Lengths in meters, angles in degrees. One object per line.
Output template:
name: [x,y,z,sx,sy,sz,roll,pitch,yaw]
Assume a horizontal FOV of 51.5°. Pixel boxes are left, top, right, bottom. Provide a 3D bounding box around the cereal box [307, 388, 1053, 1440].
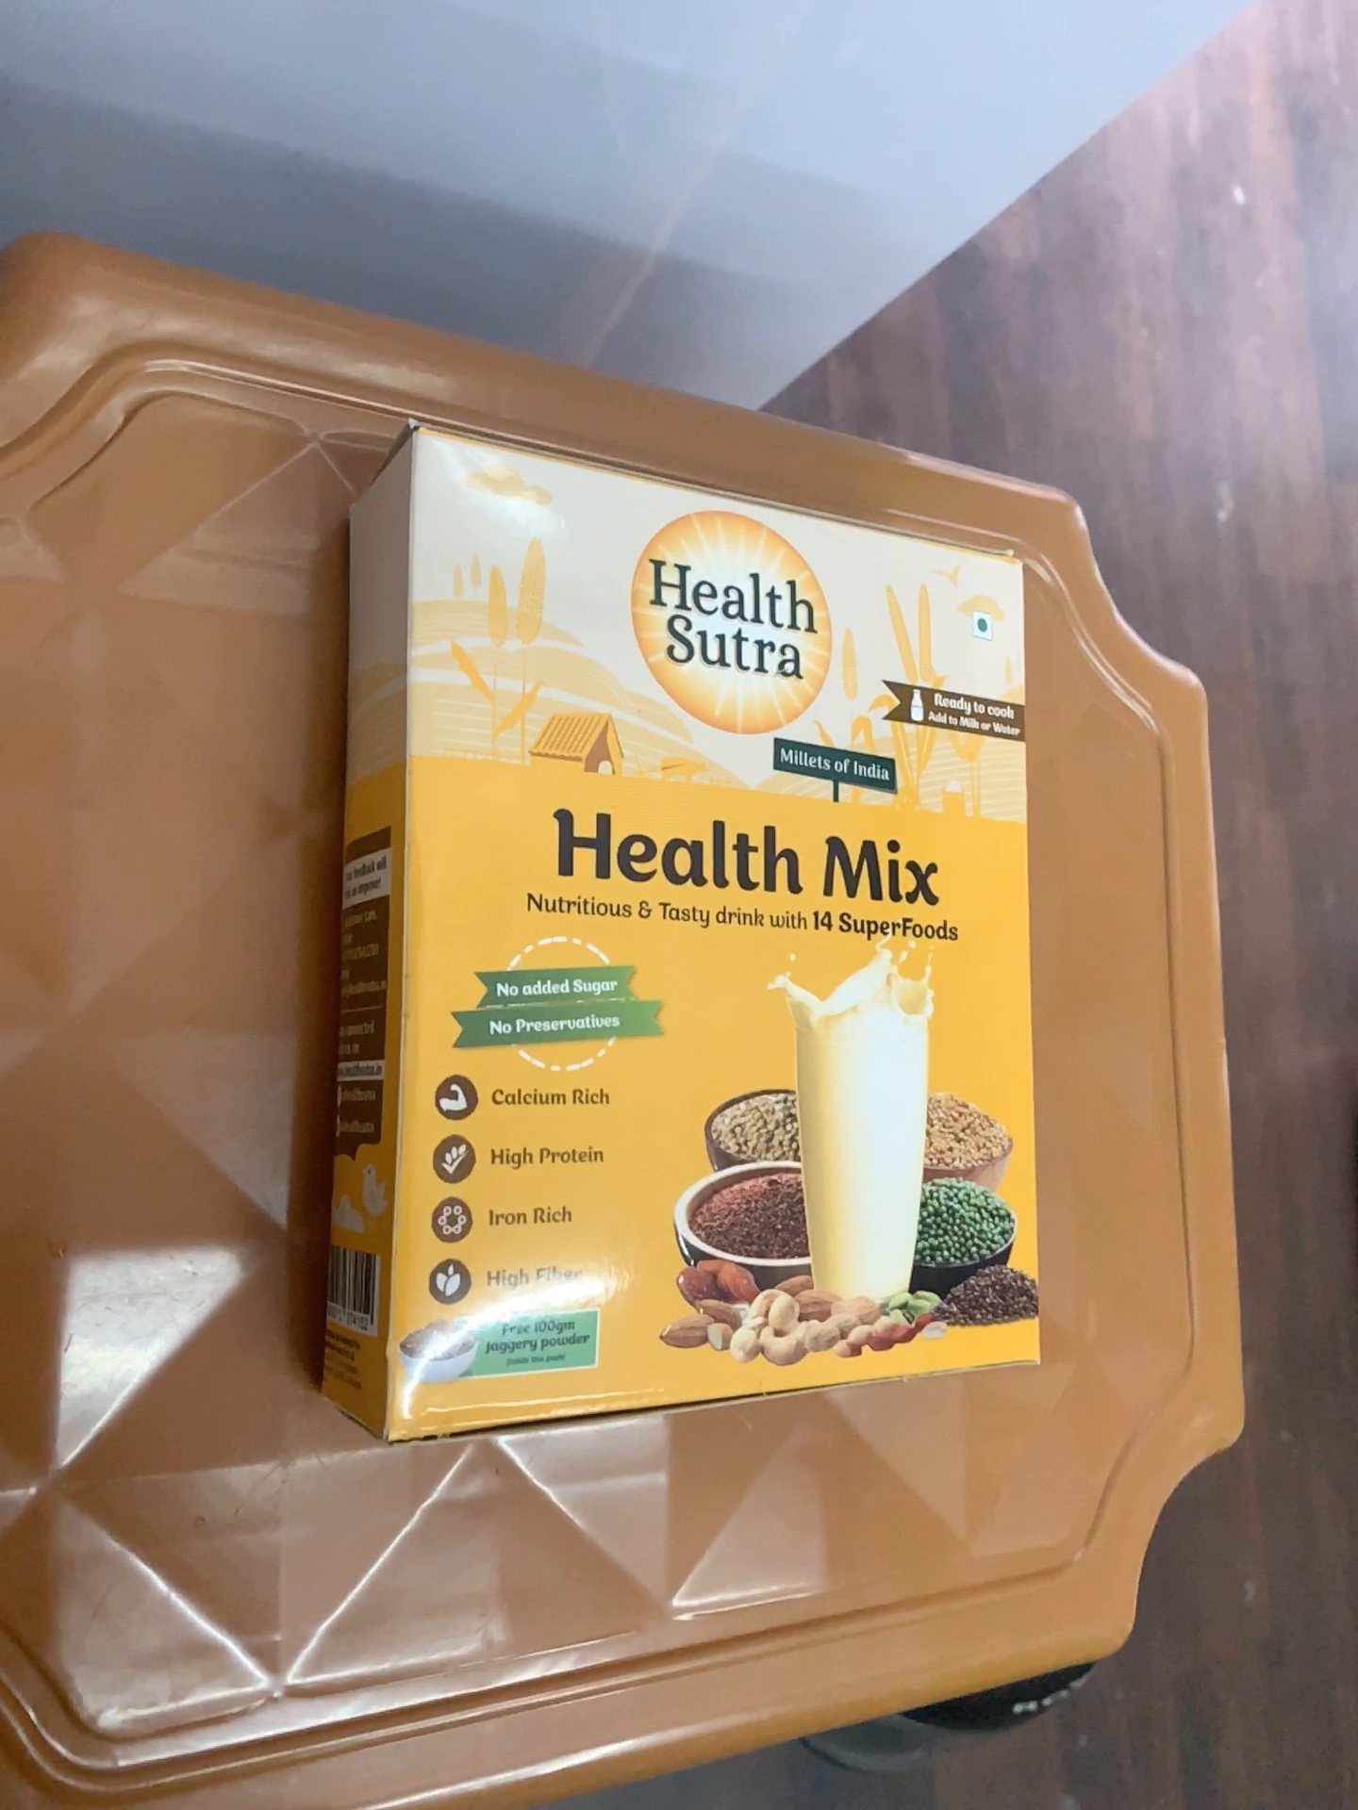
cereal box: [0.003,0.003,0.261,0.130,0.040,0.160,3,81,-29]
